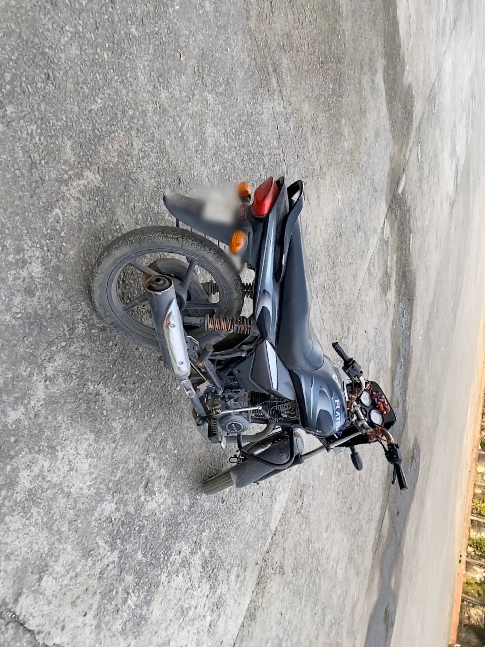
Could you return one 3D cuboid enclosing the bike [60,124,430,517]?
[{"bbox_3d":[0.238,0.097,2.332,0.772,1.078,1.744,-64,147,-33],"label":"bike"}]
